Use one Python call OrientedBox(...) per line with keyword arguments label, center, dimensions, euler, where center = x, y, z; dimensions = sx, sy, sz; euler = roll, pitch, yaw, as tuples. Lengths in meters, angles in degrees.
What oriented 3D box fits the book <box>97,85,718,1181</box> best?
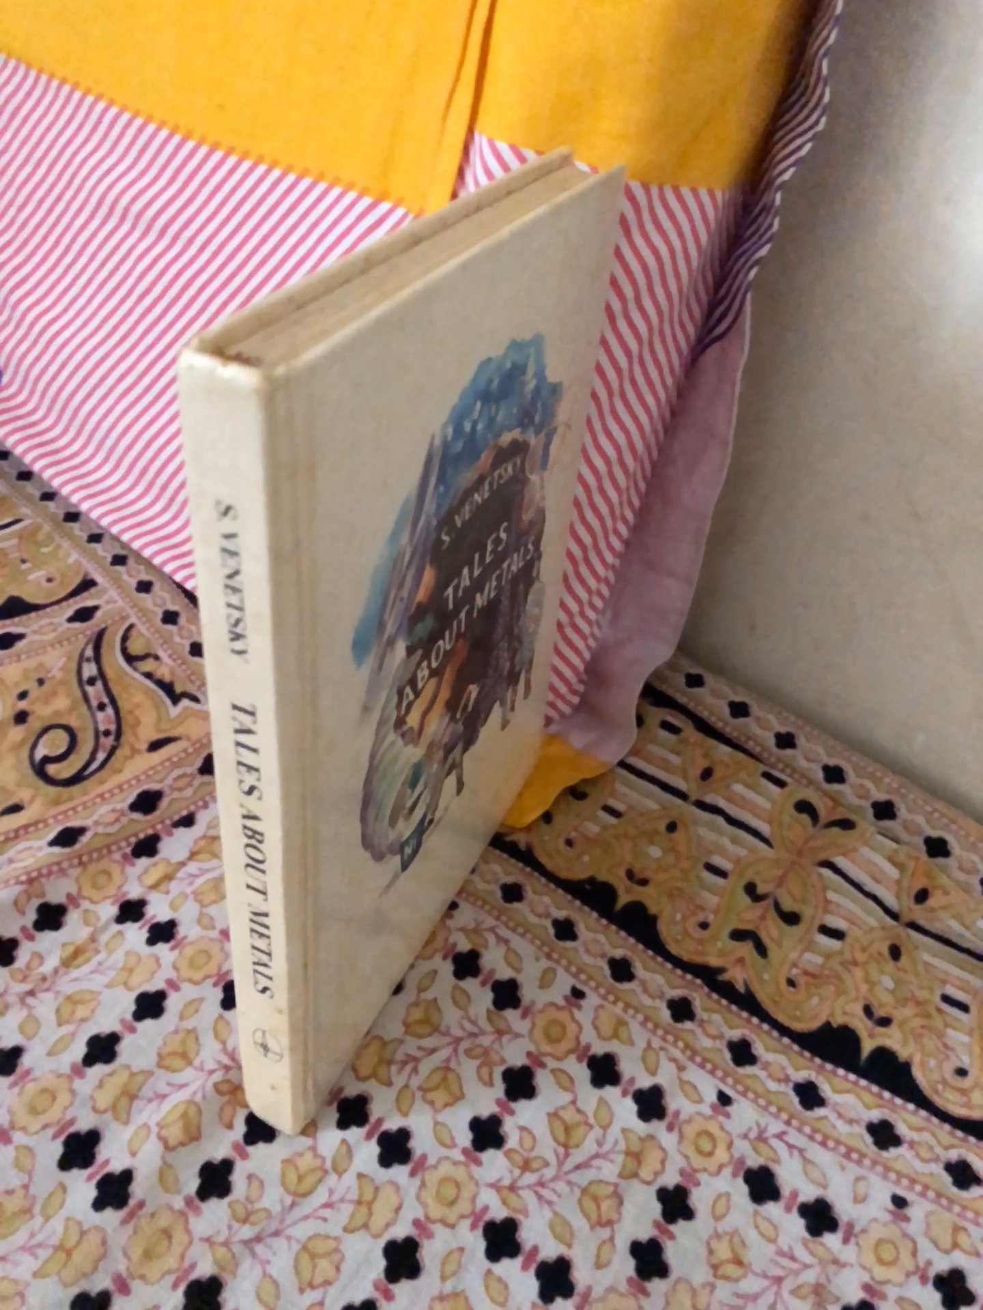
OrientedBox(label="book", center=(-0.016, -0.013, 0.308), dimensions=(0.050, 0.249, 0.191), euler=(21, 35, 17))
